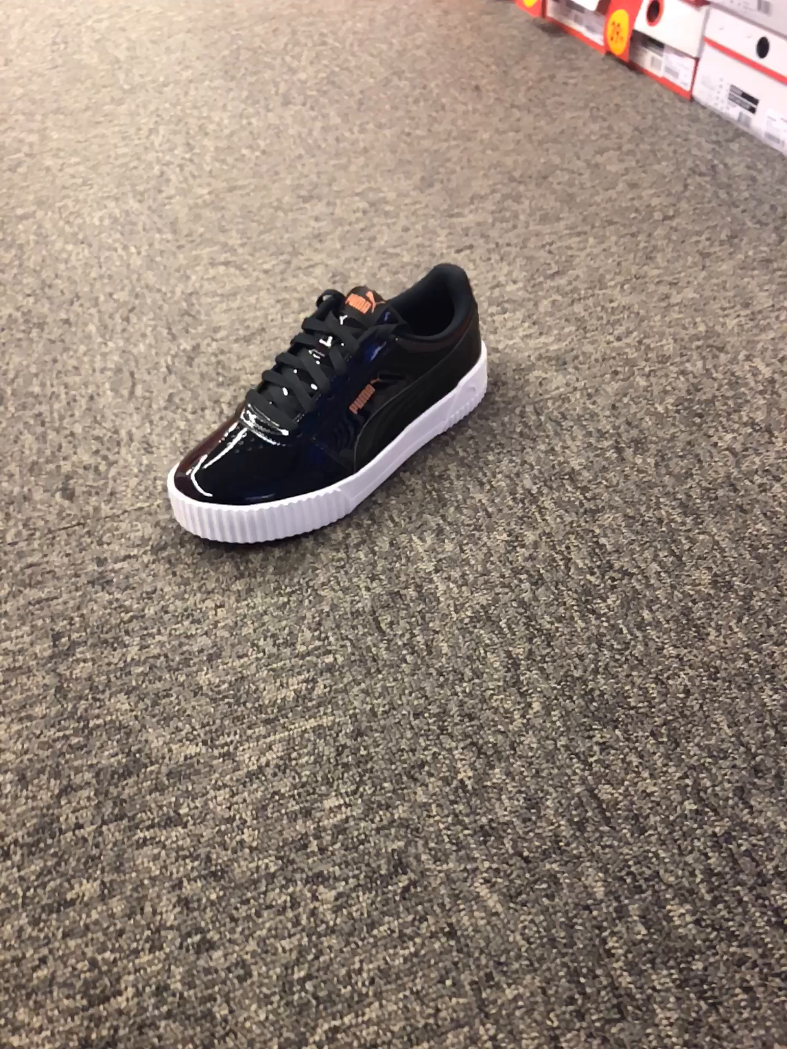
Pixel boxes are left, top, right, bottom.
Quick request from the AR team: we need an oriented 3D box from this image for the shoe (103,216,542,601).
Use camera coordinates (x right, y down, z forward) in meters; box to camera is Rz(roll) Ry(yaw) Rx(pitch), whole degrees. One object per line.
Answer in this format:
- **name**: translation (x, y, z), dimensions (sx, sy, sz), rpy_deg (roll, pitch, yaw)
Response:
- **shoe**: translation (-0.031, -0.084, 0.553), dimensions (0.261, 0.099, 0.100), rpy_deg (-37, 53, -25)
